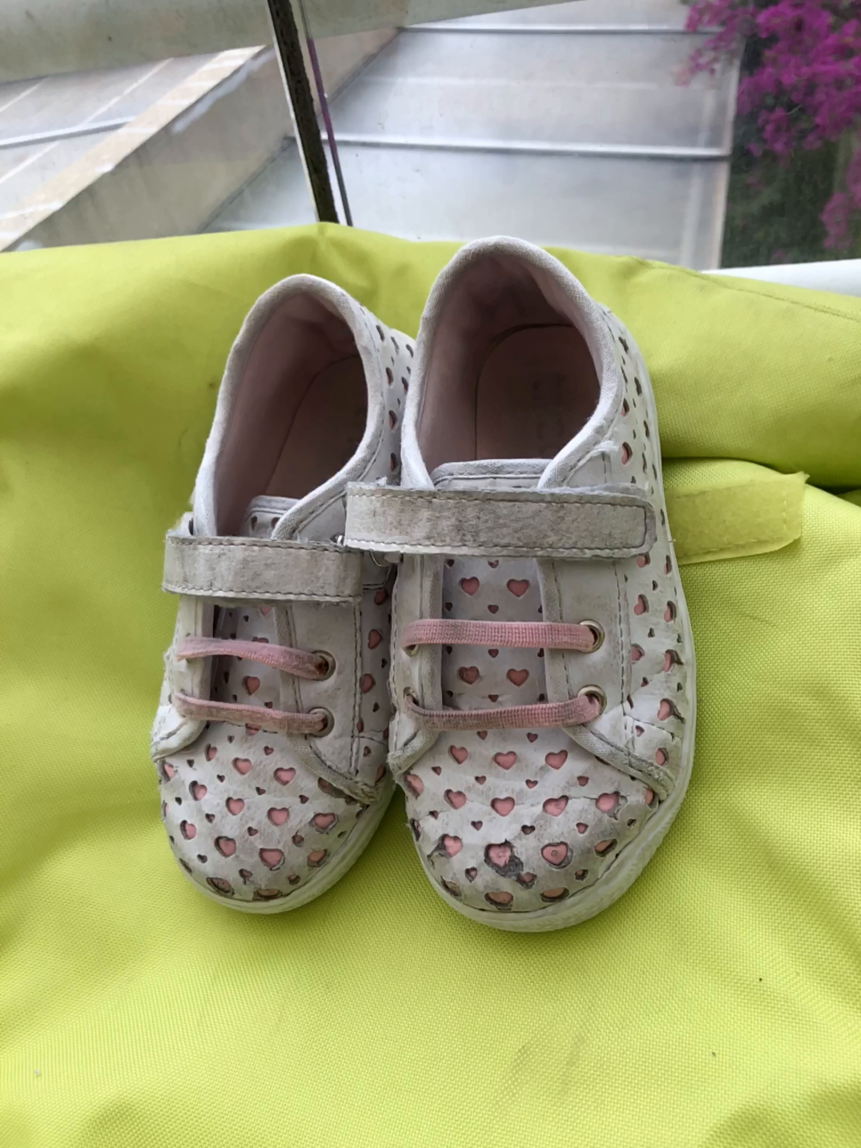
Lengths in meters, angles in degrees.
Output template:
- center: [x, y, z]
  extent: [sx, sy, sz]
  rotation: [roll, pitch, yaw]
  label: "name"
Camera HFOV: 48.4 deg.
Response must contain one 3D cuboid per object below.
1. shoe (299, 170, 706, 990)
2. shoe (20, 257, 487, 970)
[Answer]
- center: [0.025, -0.001, 0.237]
  extent: [0.080, 0.060, 0.176]
  rotation: [1, 76, 14]
  label: "shoe"
- center: [-0.045, 0.006, 0.274]
  extent: [0.081, 0.060, 0.176]
  rotation: [7, 82, 21]
  label: "shoe"
